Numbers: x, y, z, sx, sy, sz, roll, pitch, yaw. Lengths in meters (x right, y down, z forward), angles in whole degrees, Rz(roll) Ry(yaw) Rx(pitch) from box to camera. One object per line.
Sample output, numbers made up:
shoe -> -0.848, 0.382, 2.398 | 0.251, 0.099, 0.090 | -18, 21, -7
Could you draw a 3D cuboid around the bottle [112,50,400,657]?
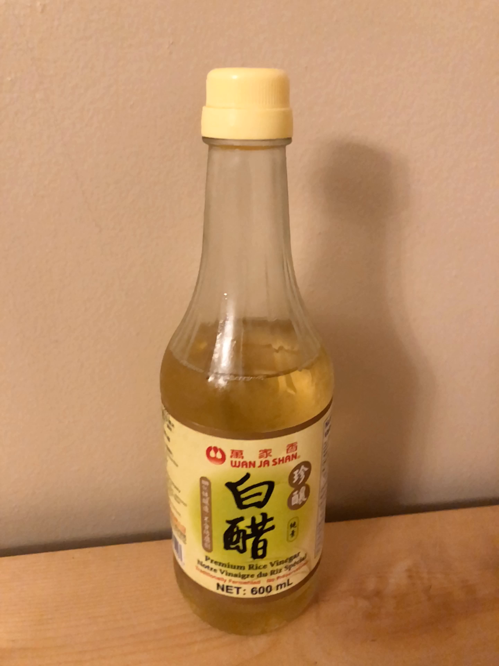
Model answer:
bottle -> 0.000, 0.015, 0.237 | 0.080, 0.239, 0.080 | -1, 23, 0
